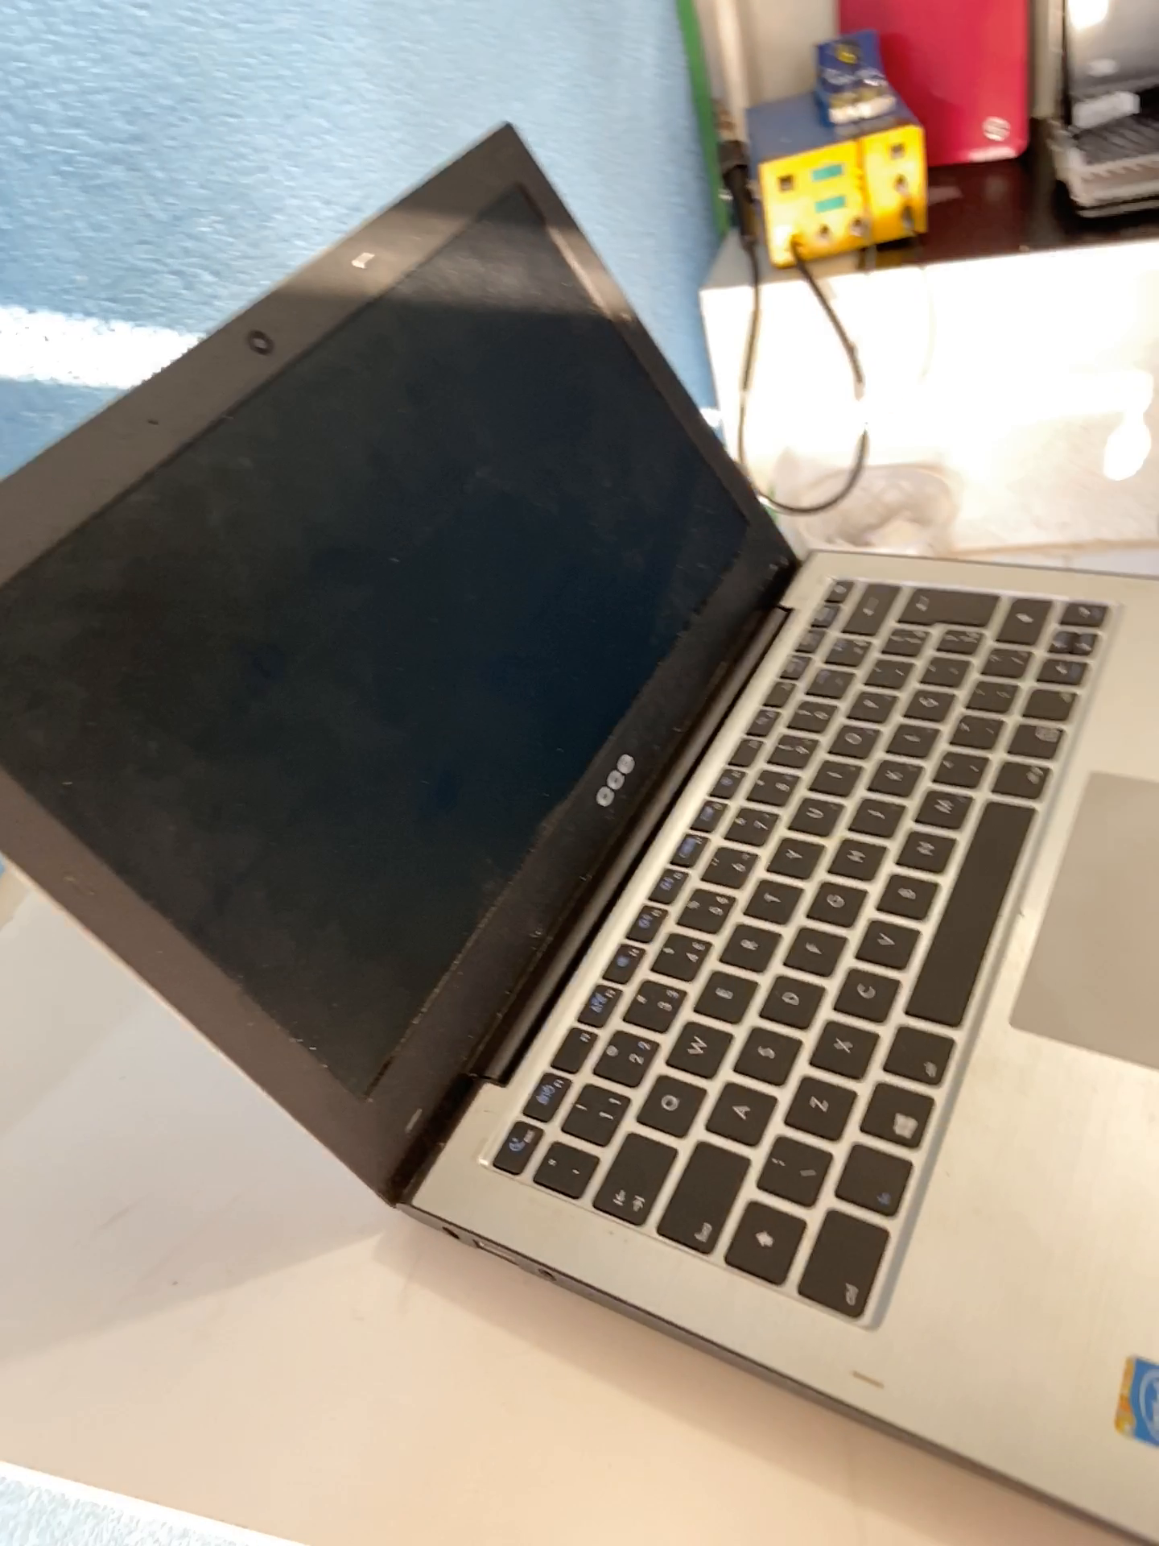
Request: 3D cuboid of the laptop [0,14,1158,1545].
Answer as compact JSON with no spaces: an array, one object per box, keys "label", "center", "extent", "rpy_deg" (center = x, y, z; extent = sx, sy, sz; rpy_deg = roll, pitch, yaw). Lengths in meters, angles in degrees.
[{"label":"laptop","center":[0.053,-0.040,0.331],"extent":[0.303,0.181,0.314],"rpy_deg":[11,48,30]}]
